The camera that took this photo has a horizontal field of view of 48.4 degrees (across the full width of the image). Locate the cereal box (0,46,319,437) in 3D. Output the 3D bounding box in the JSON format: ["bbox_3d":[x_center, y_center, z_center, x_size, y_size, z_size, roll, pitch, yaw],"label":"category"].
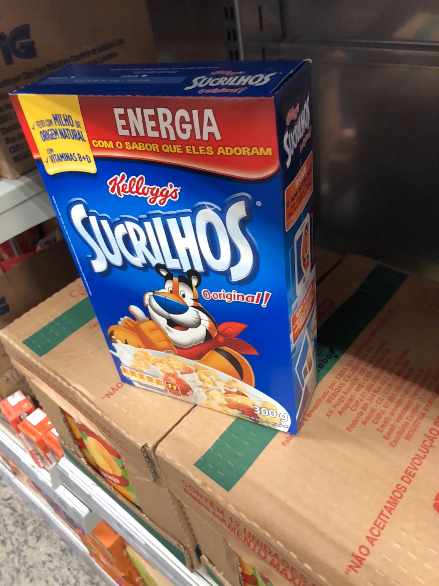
[{"bbox_3d":[-0.027,-0.024,0.336,0.170,0.248,0.060,11,44,26],"label":"cereal box"}]
